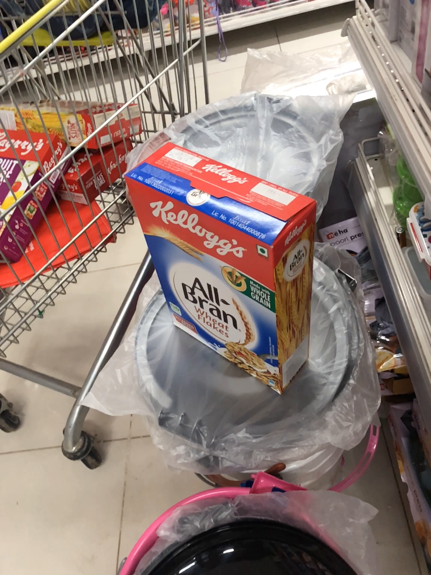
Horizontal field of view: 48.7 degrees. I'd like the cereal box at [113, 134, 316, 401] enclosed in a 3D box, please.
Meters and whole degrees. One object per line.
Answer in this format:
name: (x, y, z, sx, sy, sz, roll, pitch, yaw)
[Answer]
cereal box: (0.012, -0.012, 0.539, 0.191, 0.269, 0.070, 30, 61, 31)
